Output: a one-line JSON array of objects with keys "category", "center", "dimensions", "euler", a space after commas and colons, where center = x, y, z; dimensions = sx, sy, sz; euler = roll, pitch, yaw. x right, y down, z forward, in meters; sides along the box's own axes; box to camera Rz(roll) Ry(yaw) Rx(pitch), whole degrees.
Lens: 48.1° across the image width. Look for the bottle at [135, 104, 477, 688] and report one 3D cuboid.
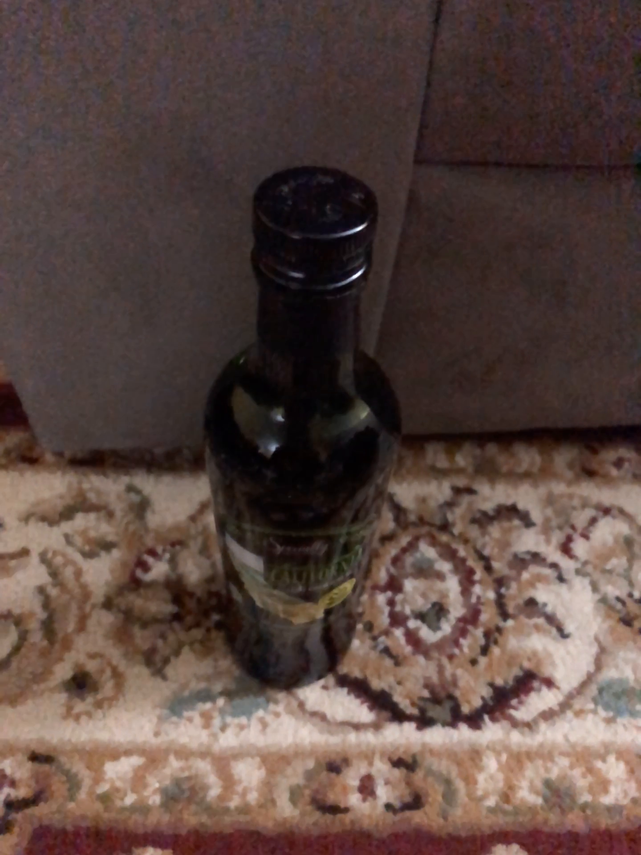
[{"category": "bottle", "center": [-0.008, 0.016, 0.288], "dimensions": [0.080, 0.260, 0.070], "euler": [-2, 48, -3]}]
